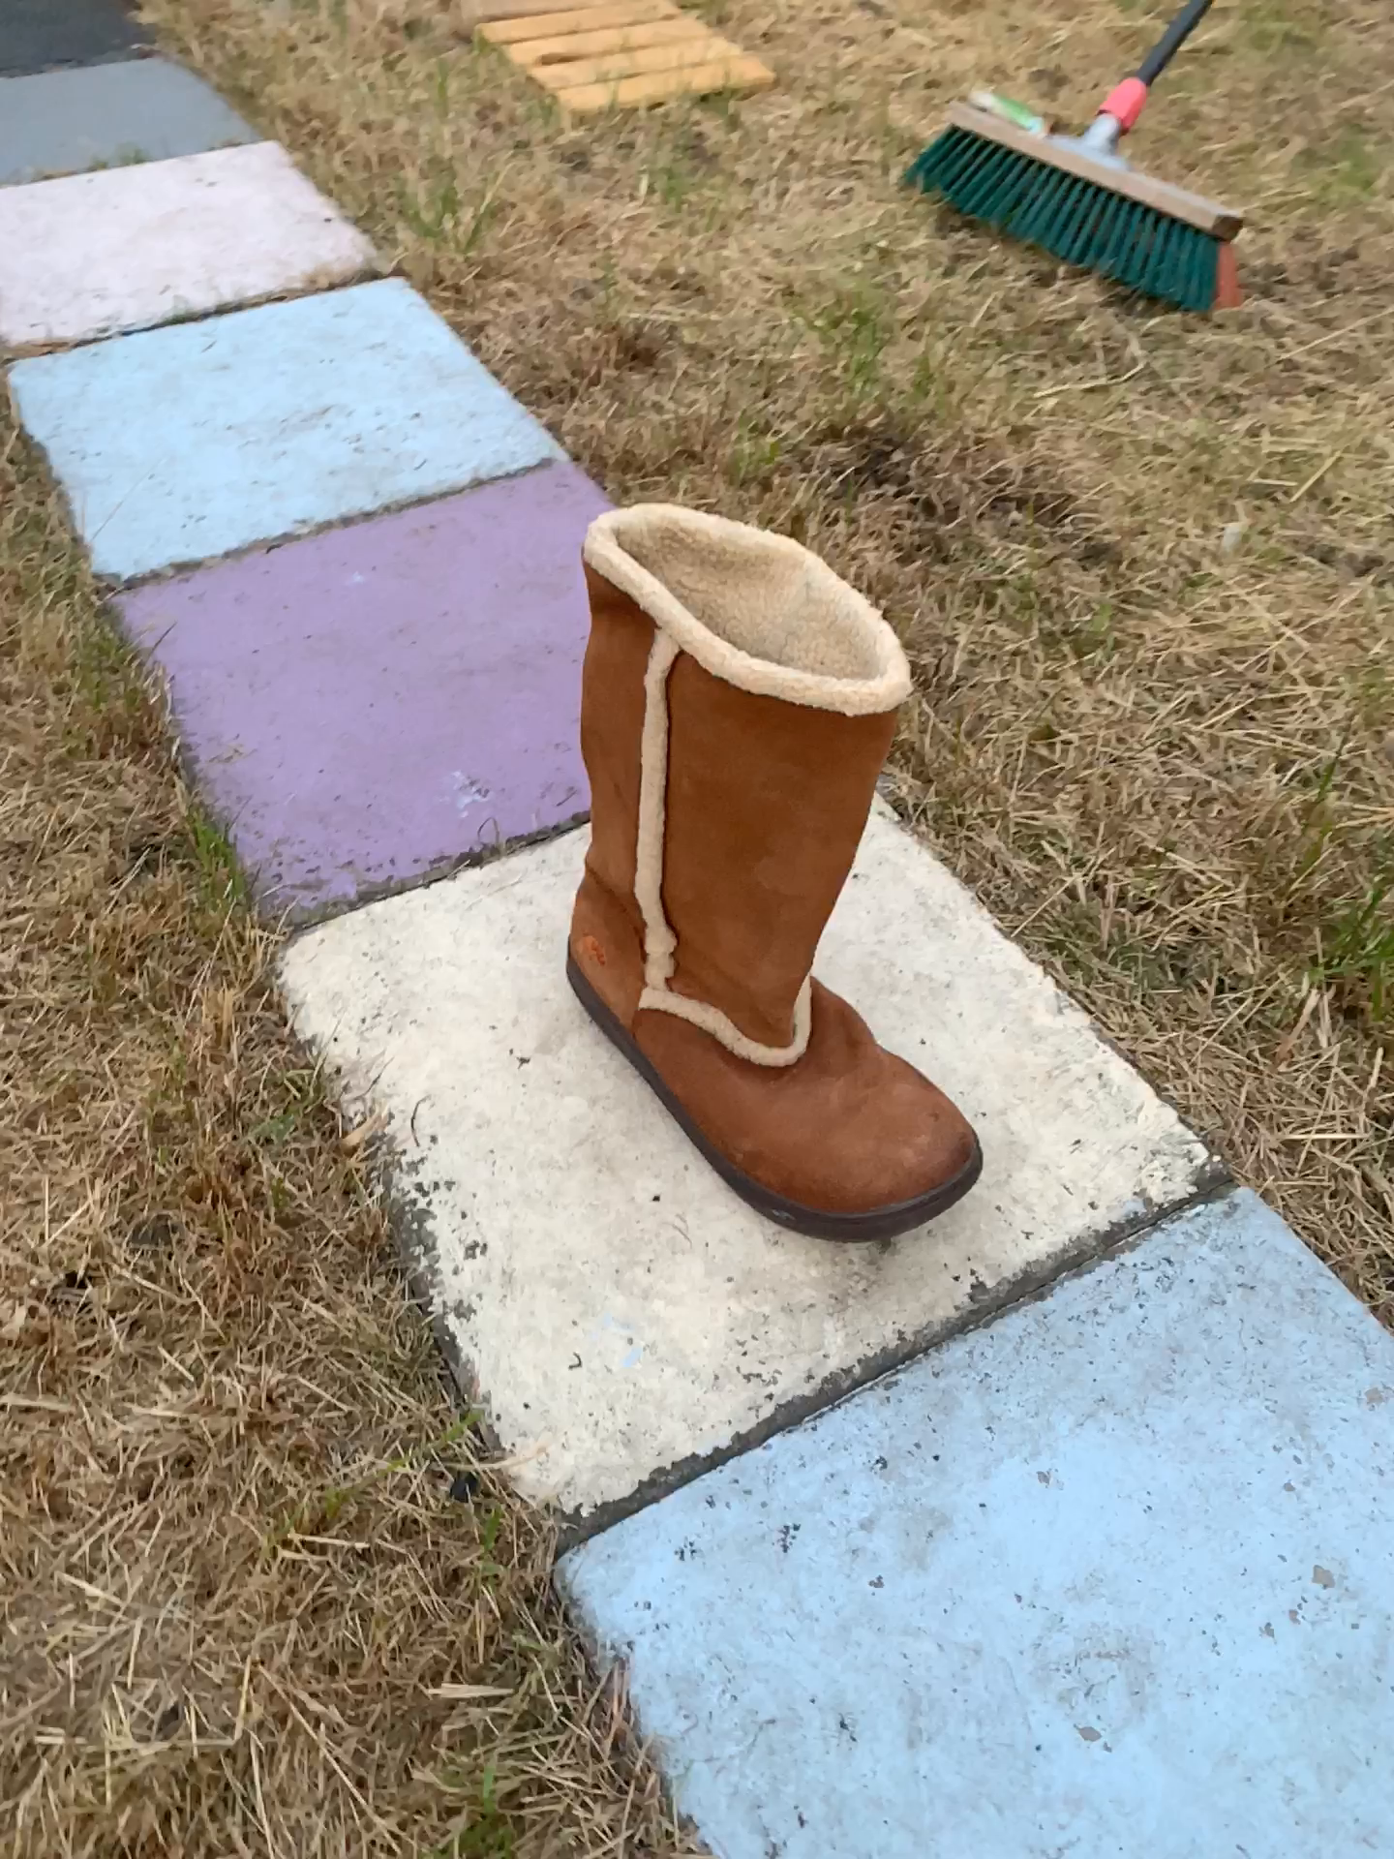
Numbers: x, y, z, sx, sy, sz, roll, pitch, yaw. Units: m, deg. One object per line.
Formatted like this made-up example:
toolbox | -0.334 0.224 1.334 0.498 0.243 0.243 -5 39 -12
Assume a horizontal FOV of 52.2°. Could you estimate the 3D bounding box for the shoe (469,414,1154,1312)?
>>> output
shoe | 0.029 -0.026 0.641 0.110 0.297 0.261 -30 54 -27
